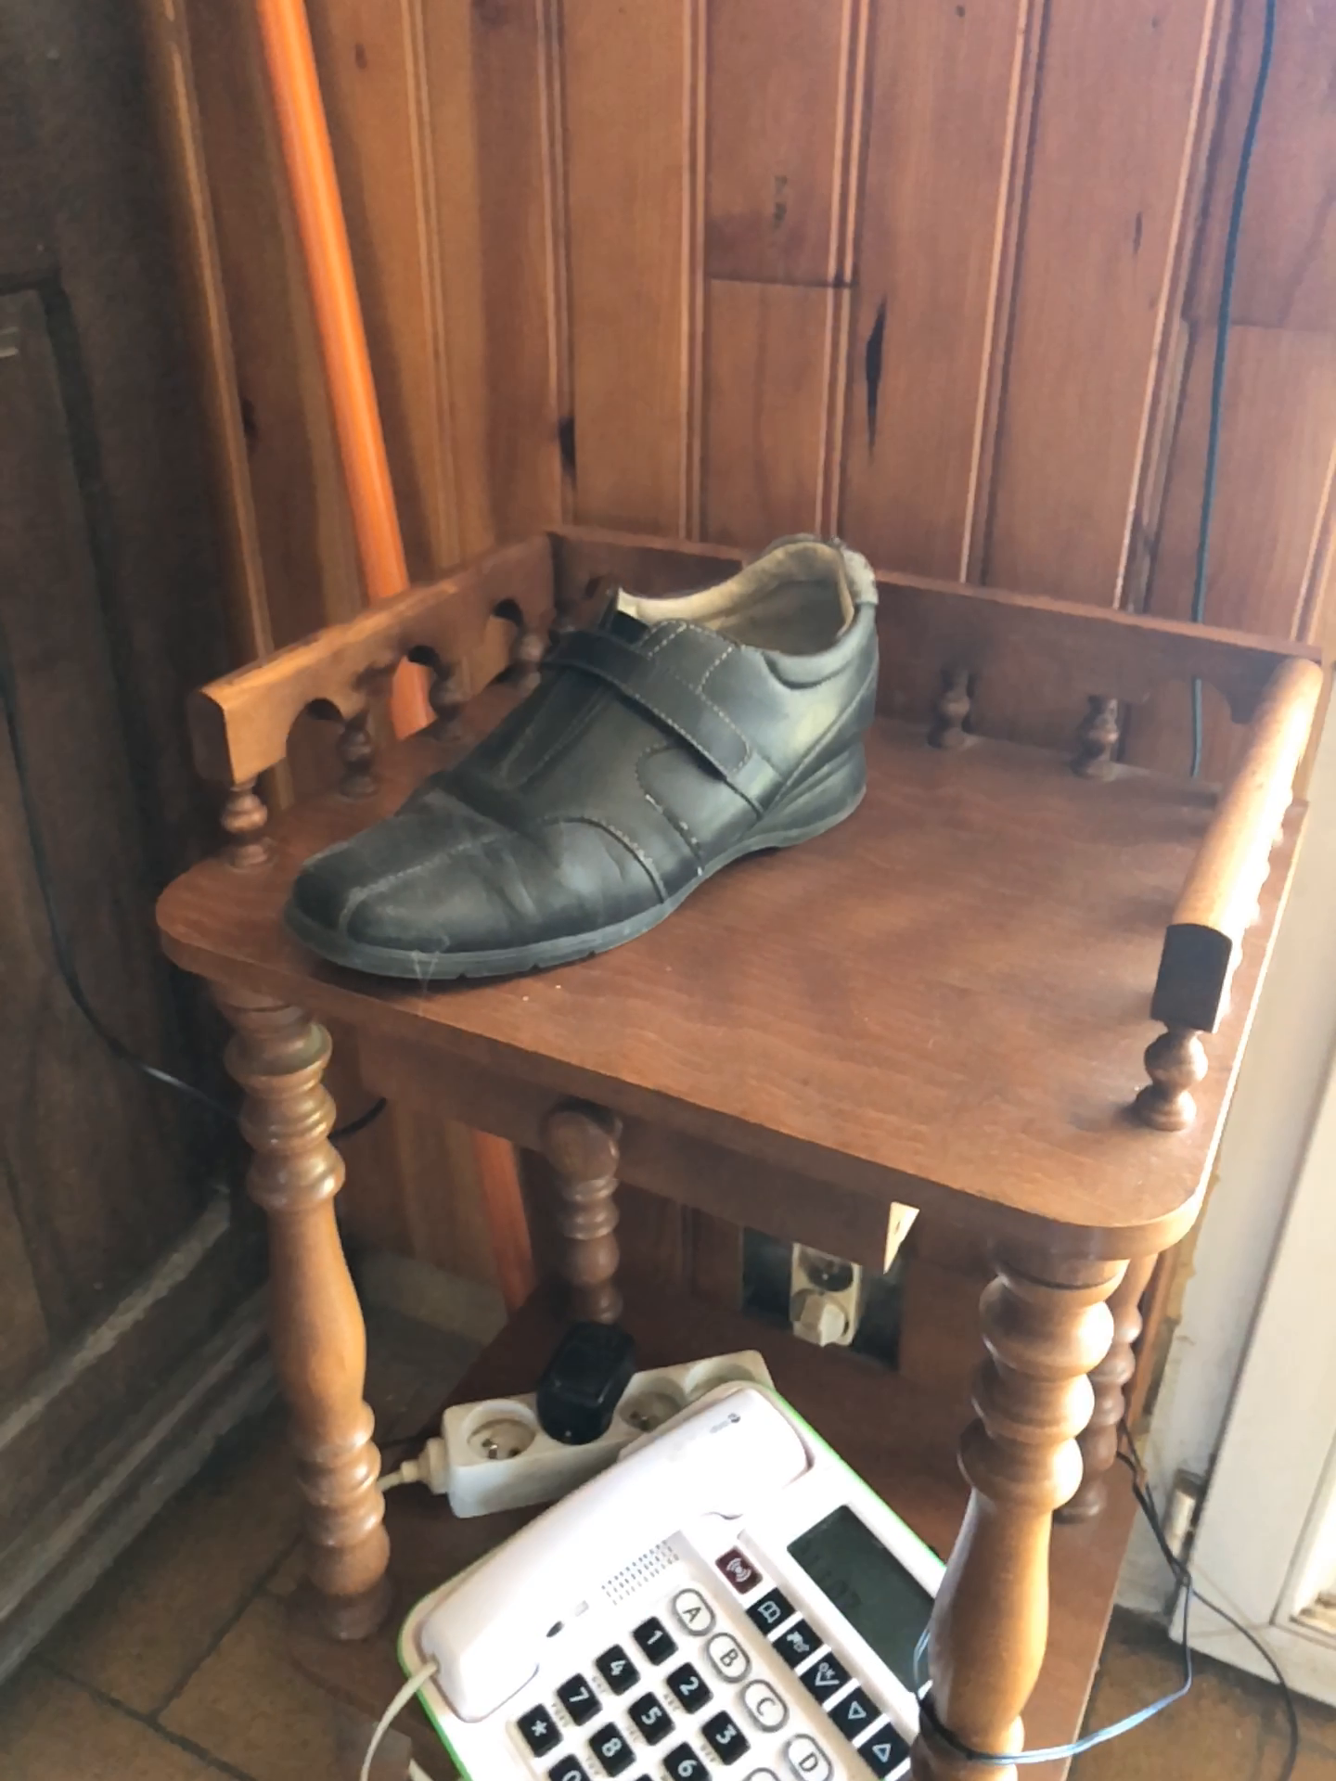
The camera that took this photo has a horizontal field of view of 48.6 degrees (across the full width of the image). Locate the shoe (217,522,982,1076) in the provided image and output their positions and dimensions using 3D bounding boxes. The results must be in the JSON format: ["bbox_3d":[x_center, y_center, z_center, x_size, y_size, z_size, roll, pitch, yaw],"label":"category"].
[{"bbox_3d":[-0.013,-0.047,0.524,0.251,0.099,0.100,-23,37,-35],"label":"shoe"}]
